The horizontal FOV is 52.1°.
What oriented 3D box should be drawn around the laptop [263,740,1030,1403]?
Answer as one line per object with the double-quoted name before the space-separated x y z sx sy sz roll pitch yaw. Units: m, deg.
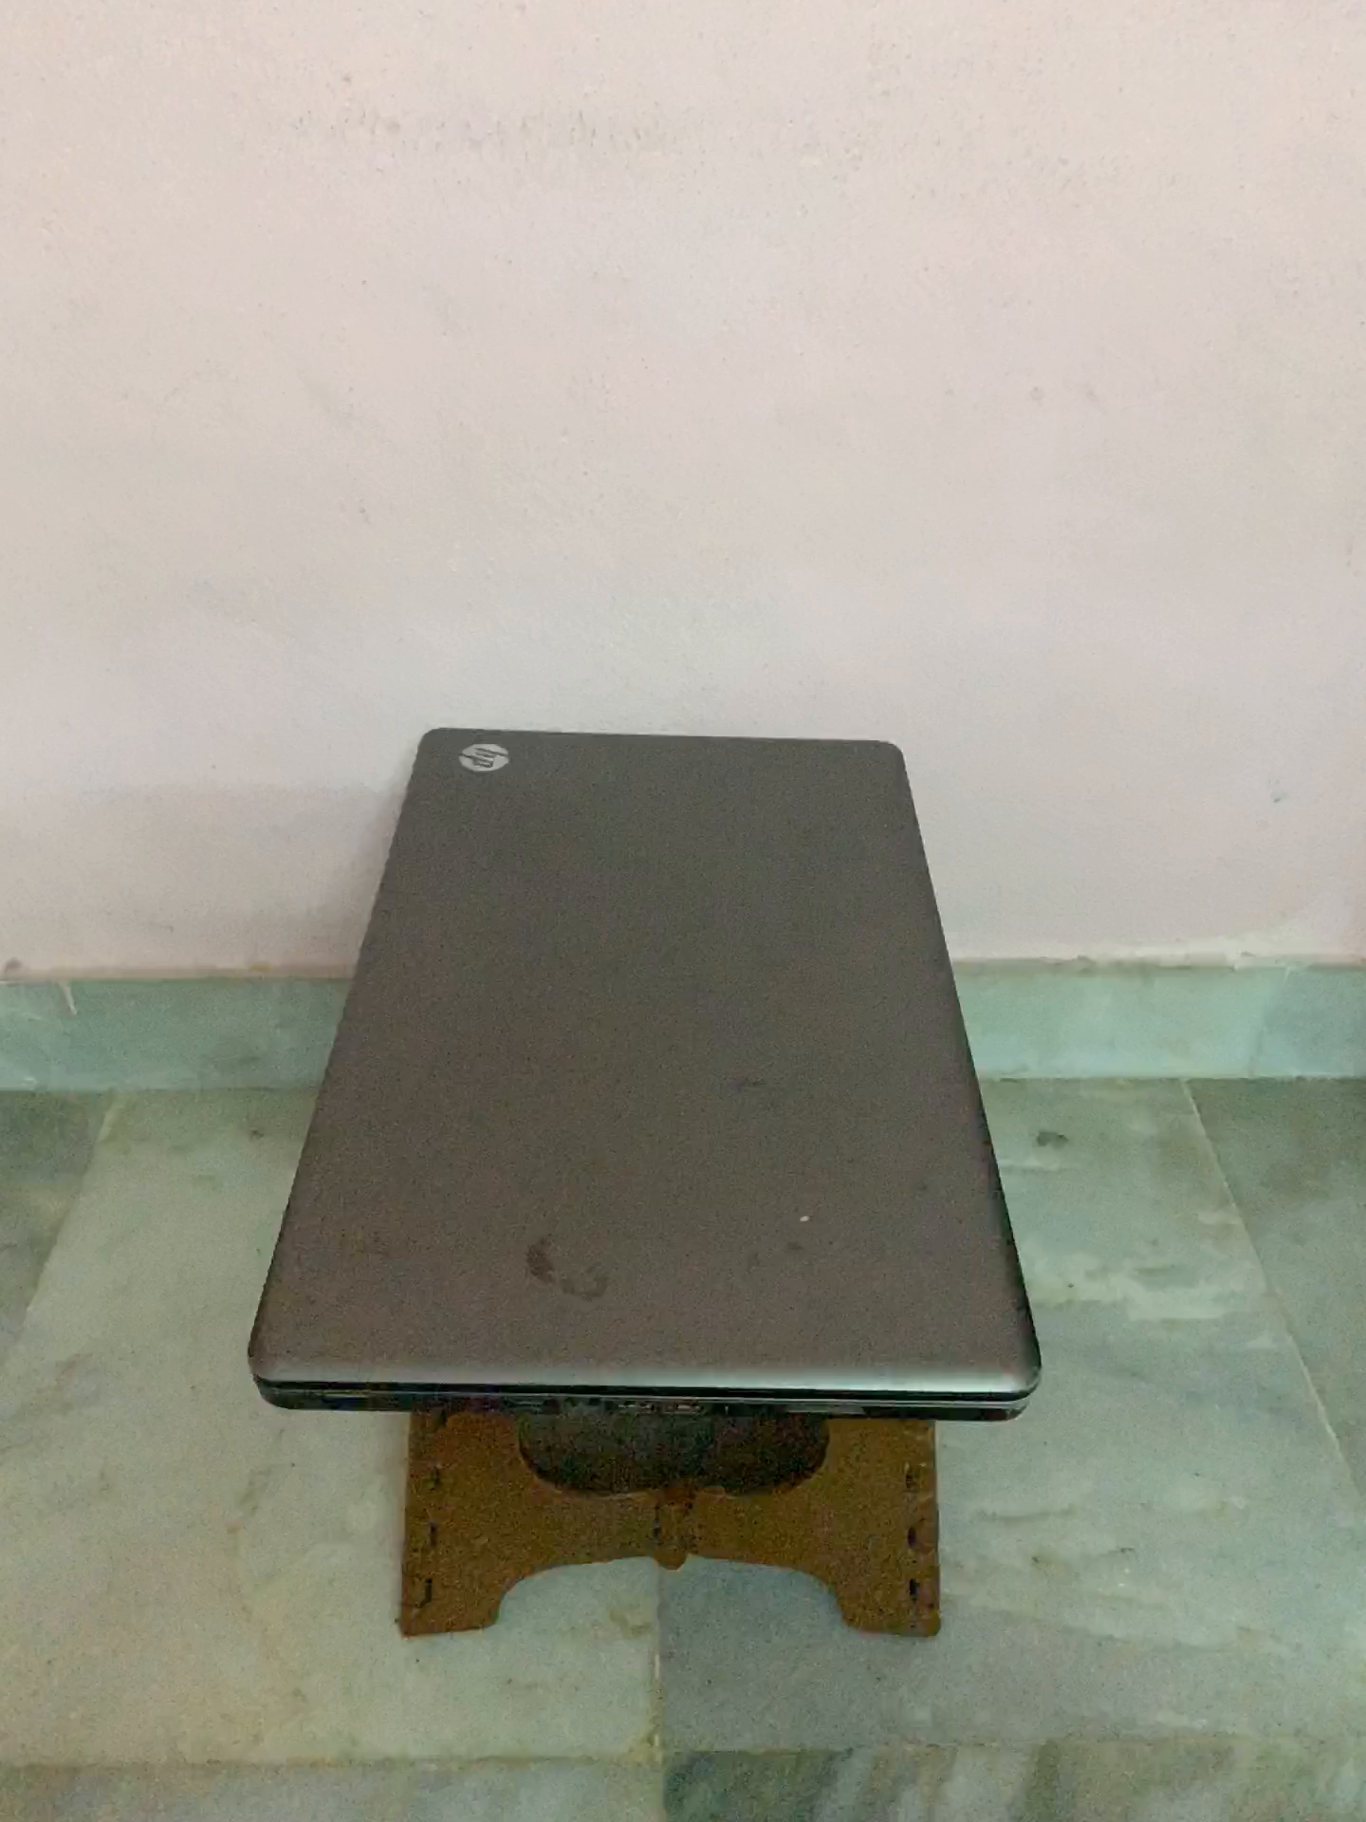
"laptop" -0.010 0.033 0.590 0.242 0.003 0.381 1 39 -1
